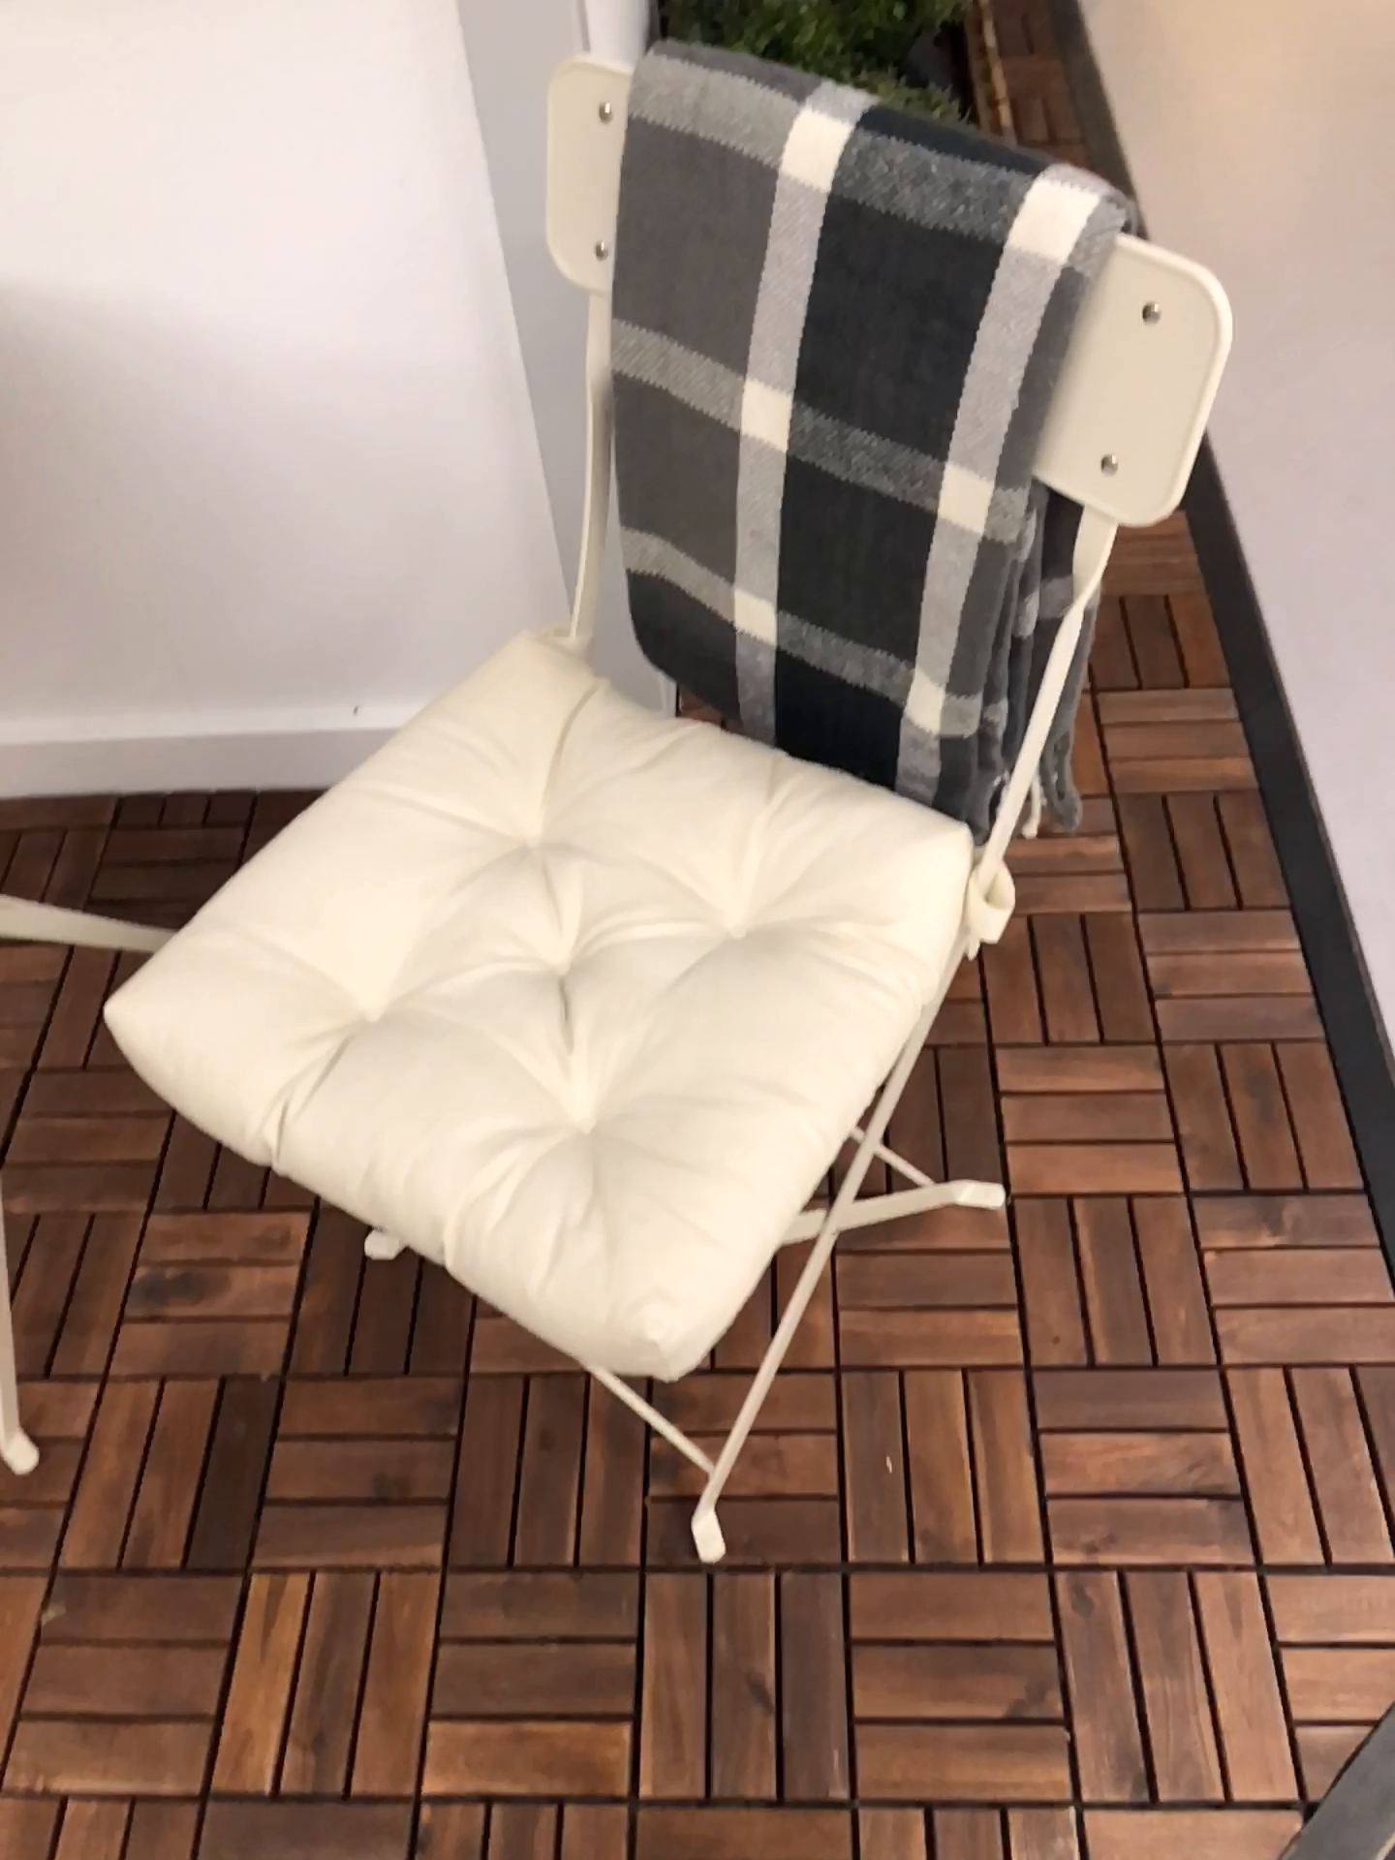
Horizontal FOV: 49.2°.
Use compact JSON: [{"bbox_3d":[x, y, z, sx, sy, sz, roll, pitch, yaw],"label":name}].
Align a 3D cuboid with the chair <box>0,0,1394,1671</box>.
[{"bbox_3d":[-0.033,-0.032,0.895,0.492,0.736,0.511,33,62,26],"label":"chair"}]
